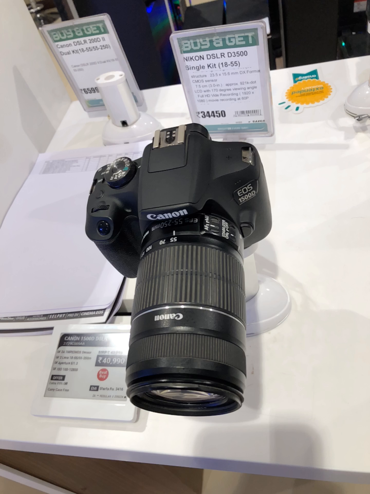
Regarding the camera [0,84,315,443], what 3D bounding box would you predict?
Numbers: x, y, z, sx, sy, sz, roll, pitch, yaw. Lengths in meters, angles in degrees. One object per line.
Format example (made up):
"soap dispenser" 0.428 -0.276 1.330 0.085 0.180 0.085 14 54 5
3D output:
"camera" -0.006 0.003 0.264 0.140 0.089 0.201 -8 50 12
